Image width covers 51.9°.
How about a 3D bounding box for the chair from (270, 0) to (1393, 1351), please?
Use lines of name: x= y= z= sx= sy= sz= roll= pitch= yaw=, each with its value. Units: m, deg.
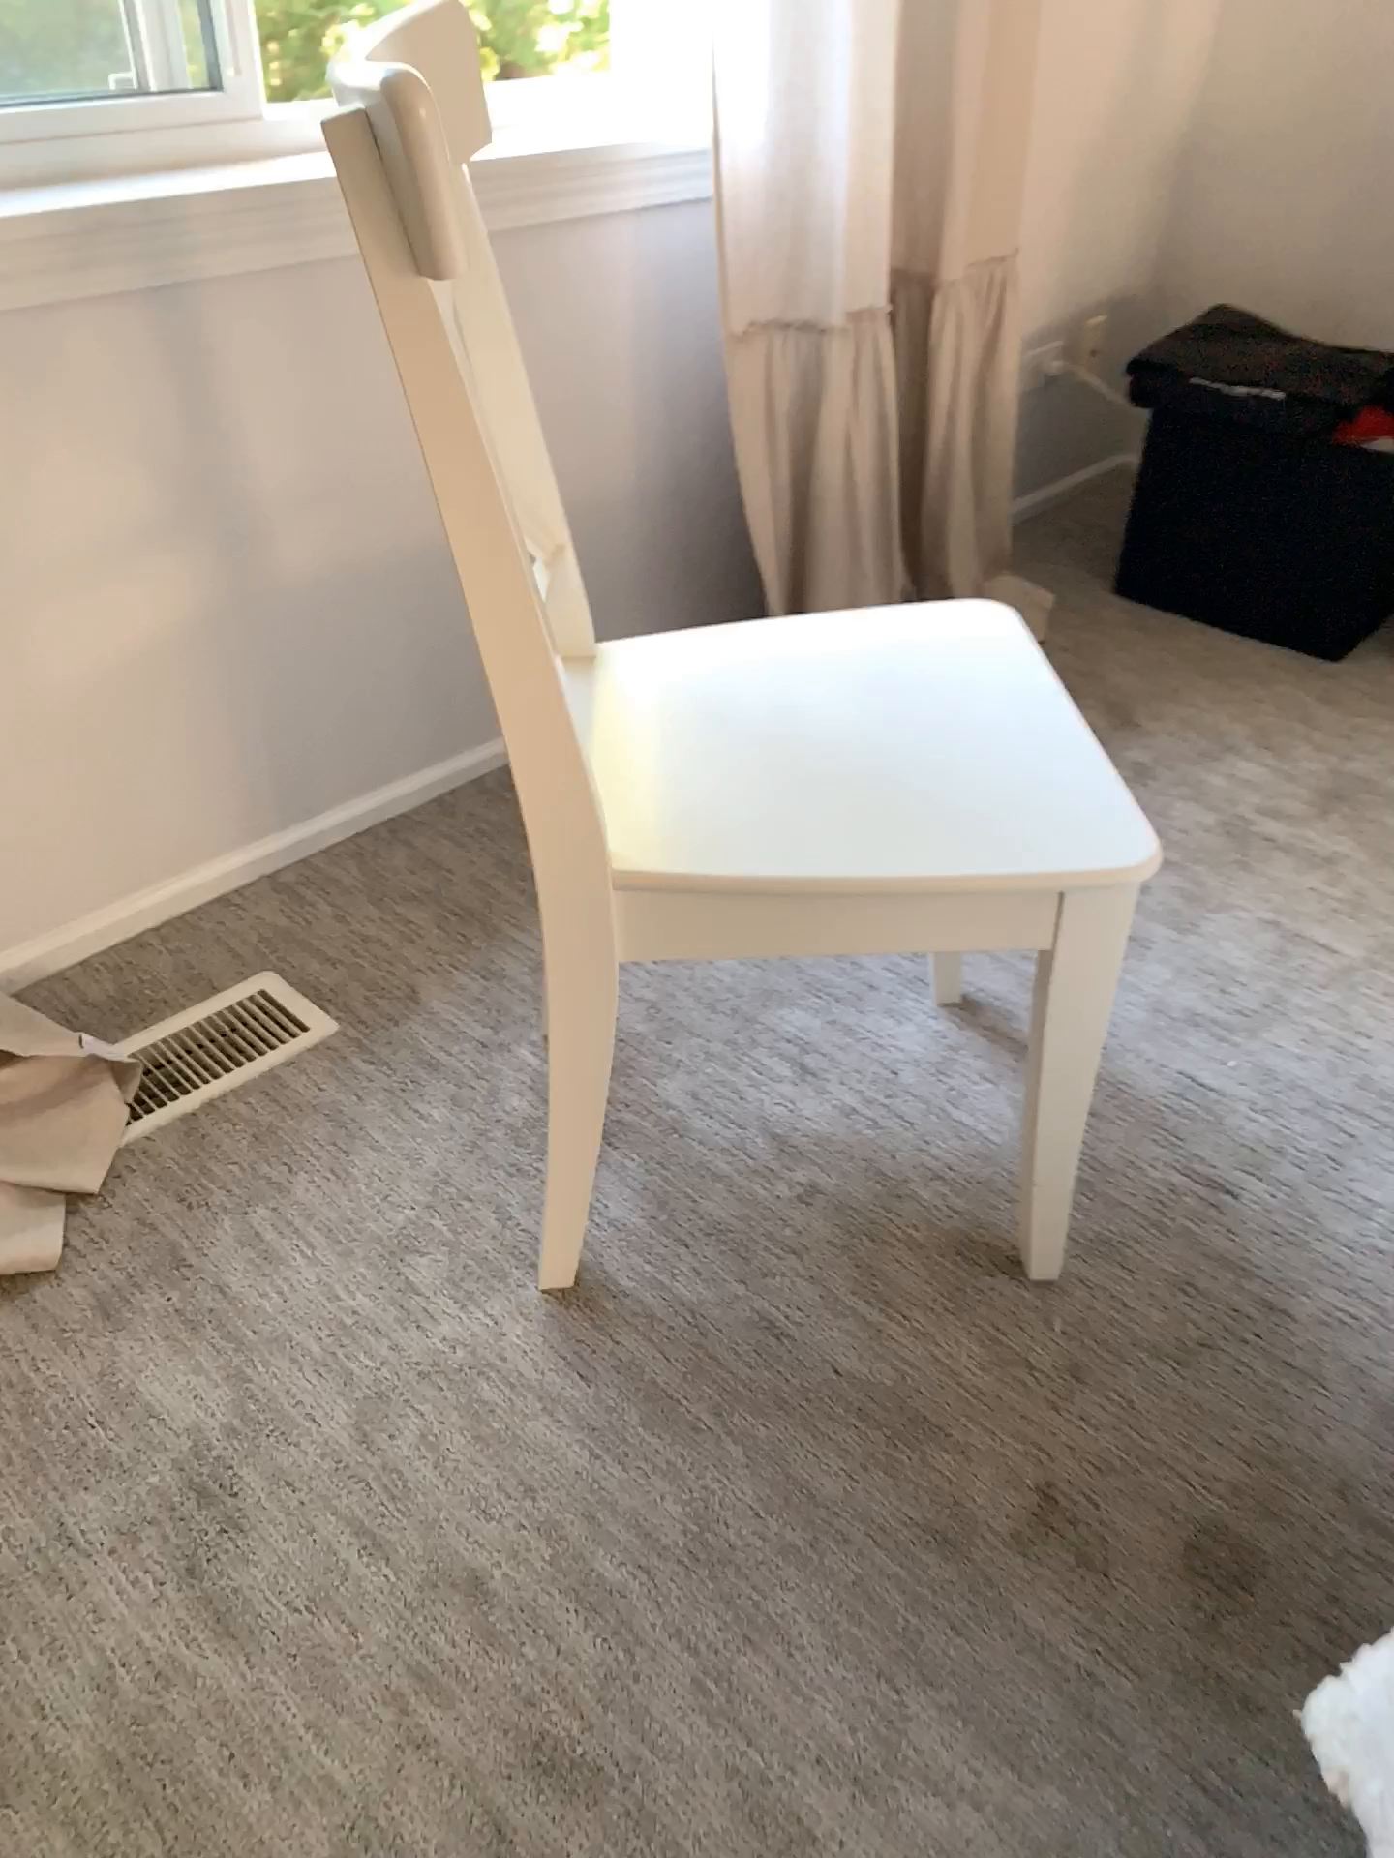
chair: x=0.057 y=-0.219 z=1.035 sx=0.480 sy=0.855 sz=0.574 roll=-4 pitch=37 yaw=-4
